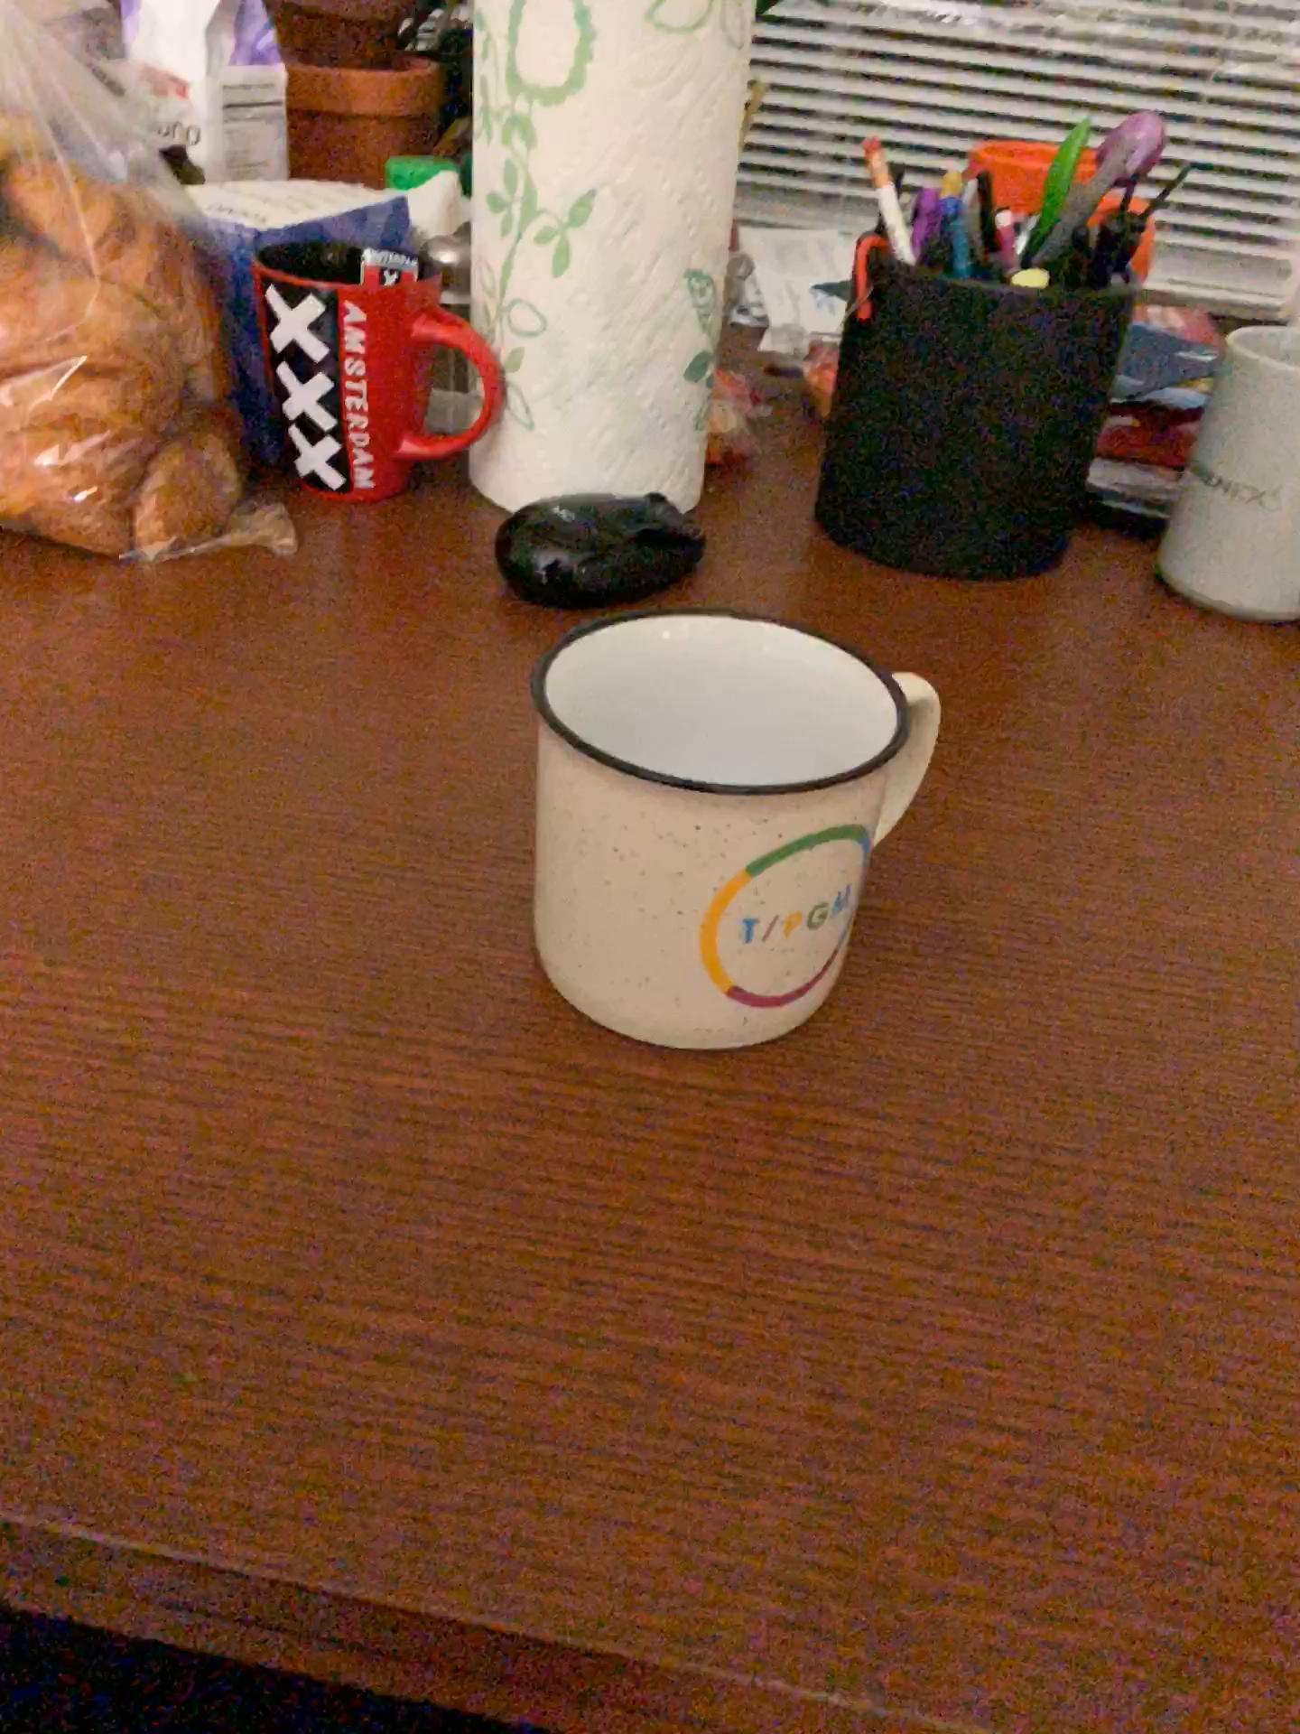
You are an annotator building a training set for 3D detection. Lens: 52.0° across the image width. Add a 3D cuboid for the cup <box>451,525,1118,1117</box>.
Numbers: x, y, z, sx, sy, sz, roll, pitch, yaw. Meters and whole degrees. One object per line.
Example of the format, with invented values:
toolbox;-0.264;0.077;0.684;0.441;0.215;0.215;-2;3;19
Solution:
cup;0.033;-0.023;0.386;0.150;0.099;0.101;-18;42;-30
